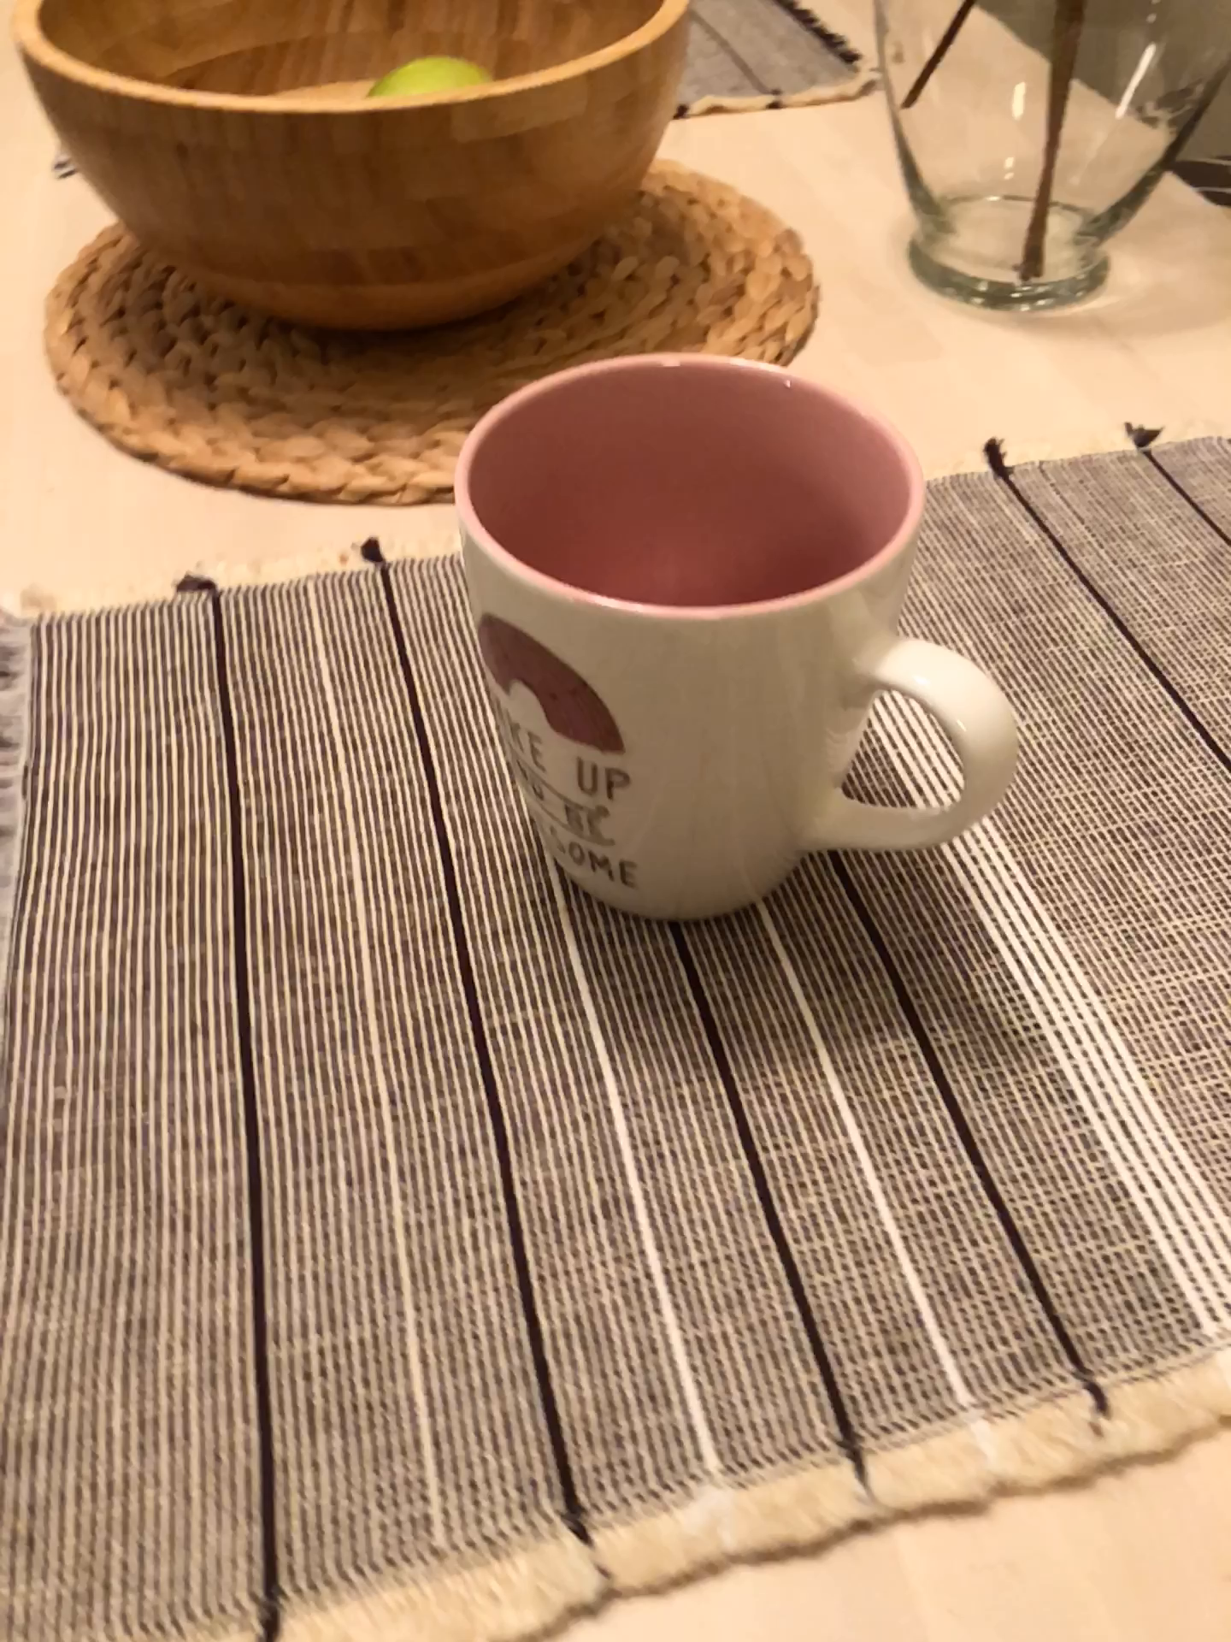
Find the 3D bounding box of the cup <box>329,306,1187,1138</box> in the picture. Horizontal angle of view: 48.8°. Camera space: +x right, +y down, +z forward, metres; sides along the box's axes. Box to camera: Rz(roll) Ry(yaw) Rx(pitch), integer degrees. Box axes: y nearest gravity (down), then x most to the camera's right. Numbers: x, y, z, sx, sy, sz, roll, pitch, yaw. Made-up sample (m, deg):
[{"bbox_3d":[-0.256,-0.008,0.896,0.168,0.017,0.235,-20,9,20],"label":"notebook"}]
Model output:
[{"bbox_3d":[0.032,-0.034,0.361,0.160,0.119,0.120,33,54,28],"label":"cup"}]
